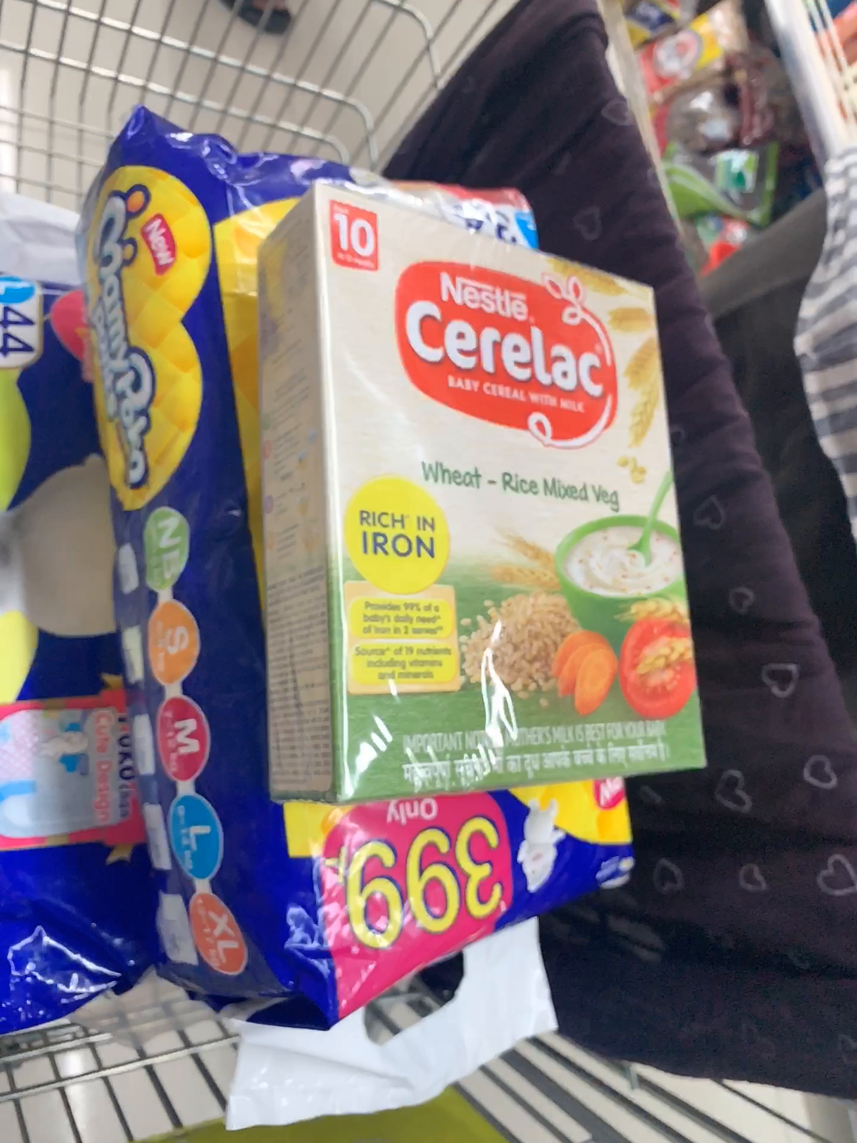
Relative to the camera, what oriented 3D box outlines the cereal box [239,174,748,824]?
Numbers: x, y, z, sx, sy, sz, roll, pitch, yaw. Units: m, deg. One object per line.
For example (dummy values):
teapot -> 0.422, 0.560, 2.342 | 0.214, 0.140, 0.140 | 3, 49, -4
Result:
cereal box -> 0.024, -0.017, 0.304 | 0.160, 0.050, 0.180 | 3, 77, -34
